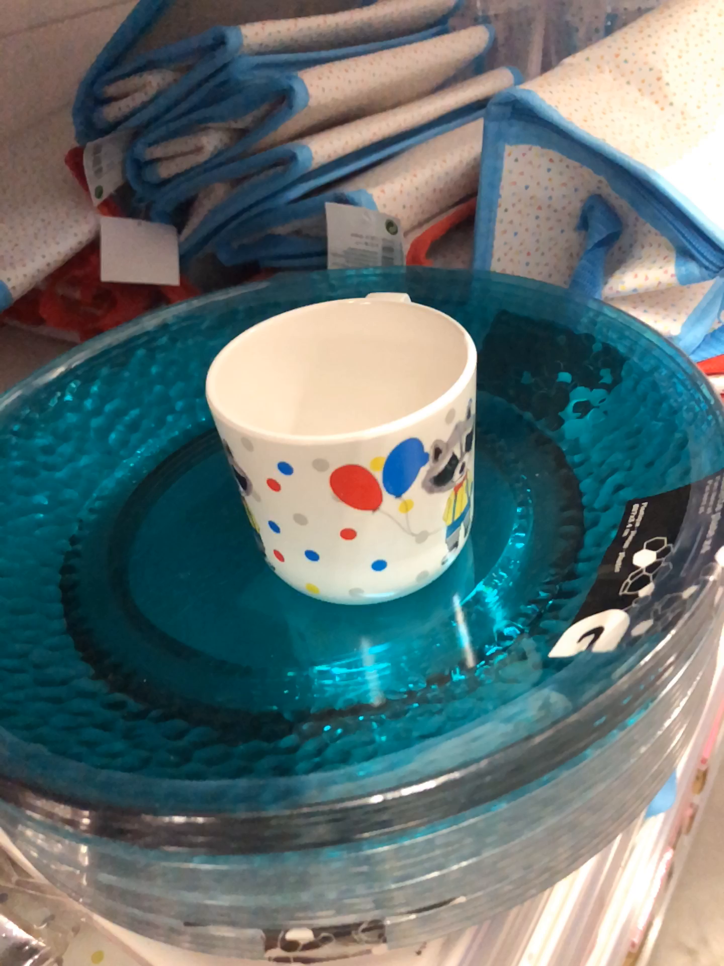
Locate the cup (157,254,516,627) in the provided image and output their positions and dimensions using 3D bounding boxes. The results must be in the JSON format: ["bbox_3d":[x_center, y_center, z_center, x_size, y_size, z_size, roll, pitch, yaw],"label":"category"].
[{"bbox_3d":[0.003,-0.020,0.252,0.080,0.059,0.110,3,39,15],"label":"cup"}]
